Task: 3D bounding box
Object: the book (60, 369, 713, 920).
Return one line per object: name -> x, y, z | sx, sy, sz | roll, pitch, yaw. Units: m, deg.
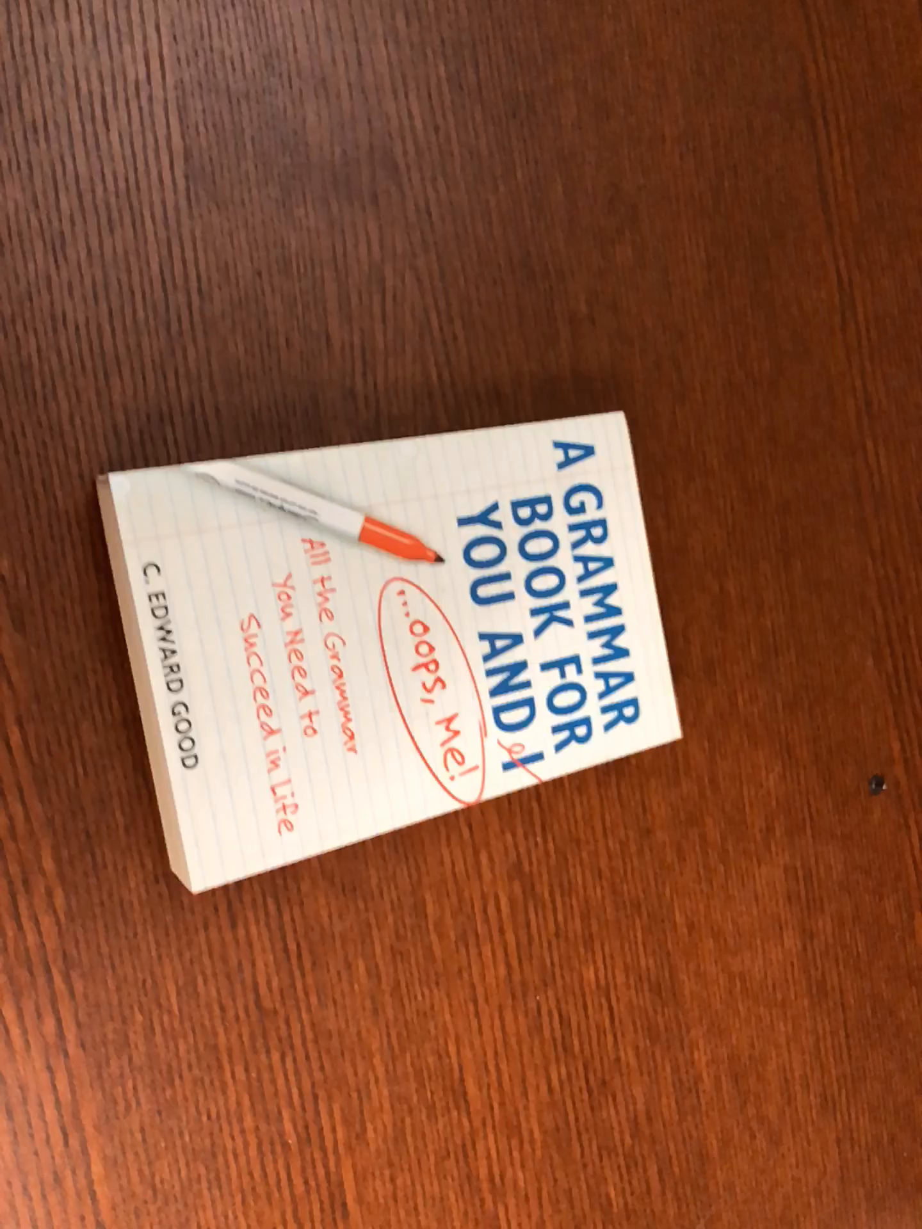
book -> -0.016, -0.002, 0.411 | 0.241, 0.040, 0.170 | -11, 93, -28
